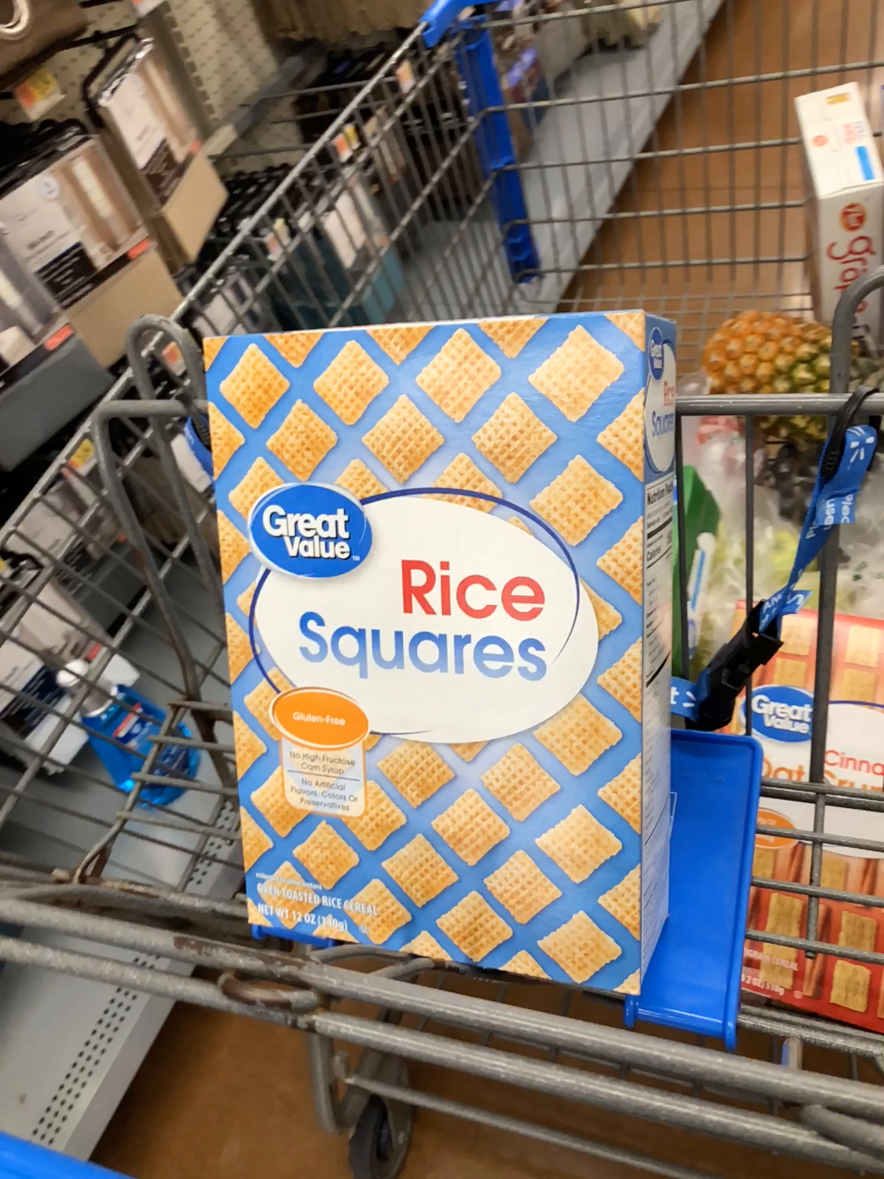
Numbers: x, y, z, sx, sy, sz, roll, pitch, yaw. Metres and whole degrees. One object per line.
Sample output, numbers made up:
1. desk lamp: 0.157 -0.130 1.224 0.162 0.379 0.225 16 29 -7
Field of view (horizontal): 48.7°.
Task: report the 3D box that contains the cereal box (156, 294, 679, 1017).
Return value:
1. cereal box: -0.007 0.023 0.443 0.210 0.280 0.080 2 11 22
